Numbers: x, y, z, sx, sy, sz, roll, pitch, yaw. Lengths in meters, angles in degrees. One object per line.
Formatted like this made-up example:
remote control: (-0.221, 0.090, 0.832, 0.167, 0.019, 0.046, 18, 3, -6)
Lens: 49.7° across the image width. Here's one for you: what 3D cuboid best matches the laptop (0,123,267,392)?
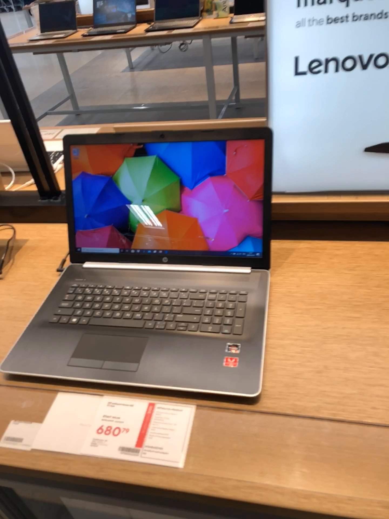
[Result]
laptop: (-0.091, -0.034, 0.719, 0.399, 0.217, 0.399, 1, 41, 13)
